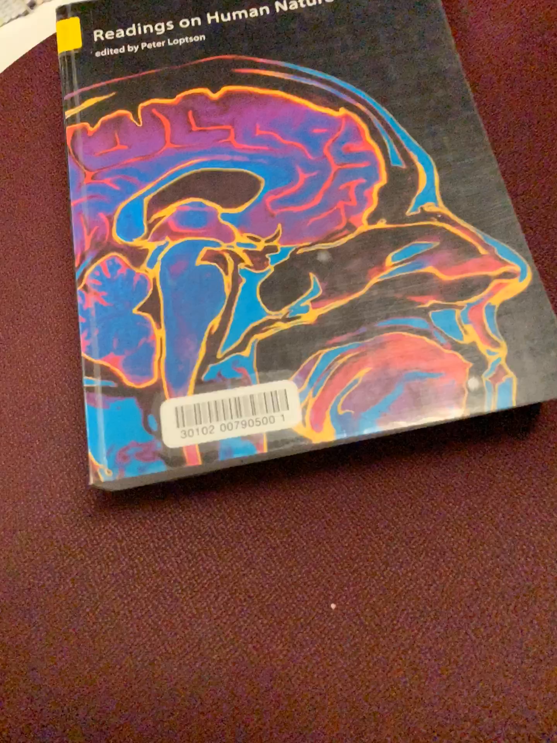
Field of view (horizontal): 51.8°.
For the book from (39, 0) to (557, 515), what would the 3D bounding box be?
[{"bbox_3d":[0.008,-0.081,0.239,0.200,0.040,0.241,-10,68,1],"label":"book"}]
